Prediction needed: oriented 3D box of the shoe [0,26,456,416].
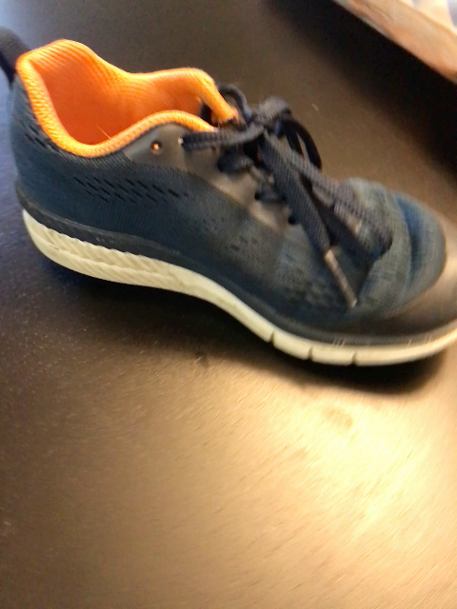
[{"bbox_3d":[0.004,-0.038,0.200,0.186,0.072,0.084,17,55,10],"label":"shoe"}]
